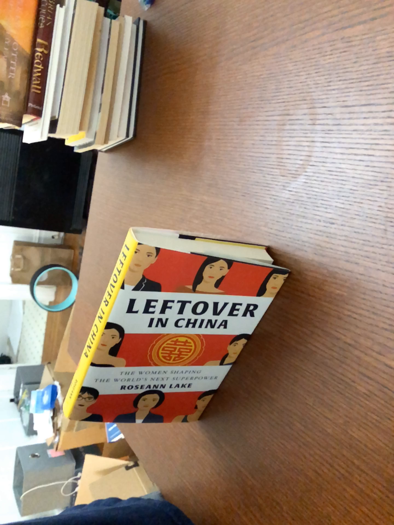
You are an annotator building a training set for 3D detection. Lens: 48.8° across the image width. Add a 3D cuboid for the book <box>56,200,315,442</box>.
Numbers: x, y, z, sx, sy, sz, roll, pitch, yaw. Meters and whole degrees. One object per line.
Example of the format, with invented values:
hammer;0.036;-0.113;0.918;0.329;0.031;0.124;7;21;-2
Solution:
book;-0.024;0.074;0.457;0.260;0.179;0.060;-64;38;29
